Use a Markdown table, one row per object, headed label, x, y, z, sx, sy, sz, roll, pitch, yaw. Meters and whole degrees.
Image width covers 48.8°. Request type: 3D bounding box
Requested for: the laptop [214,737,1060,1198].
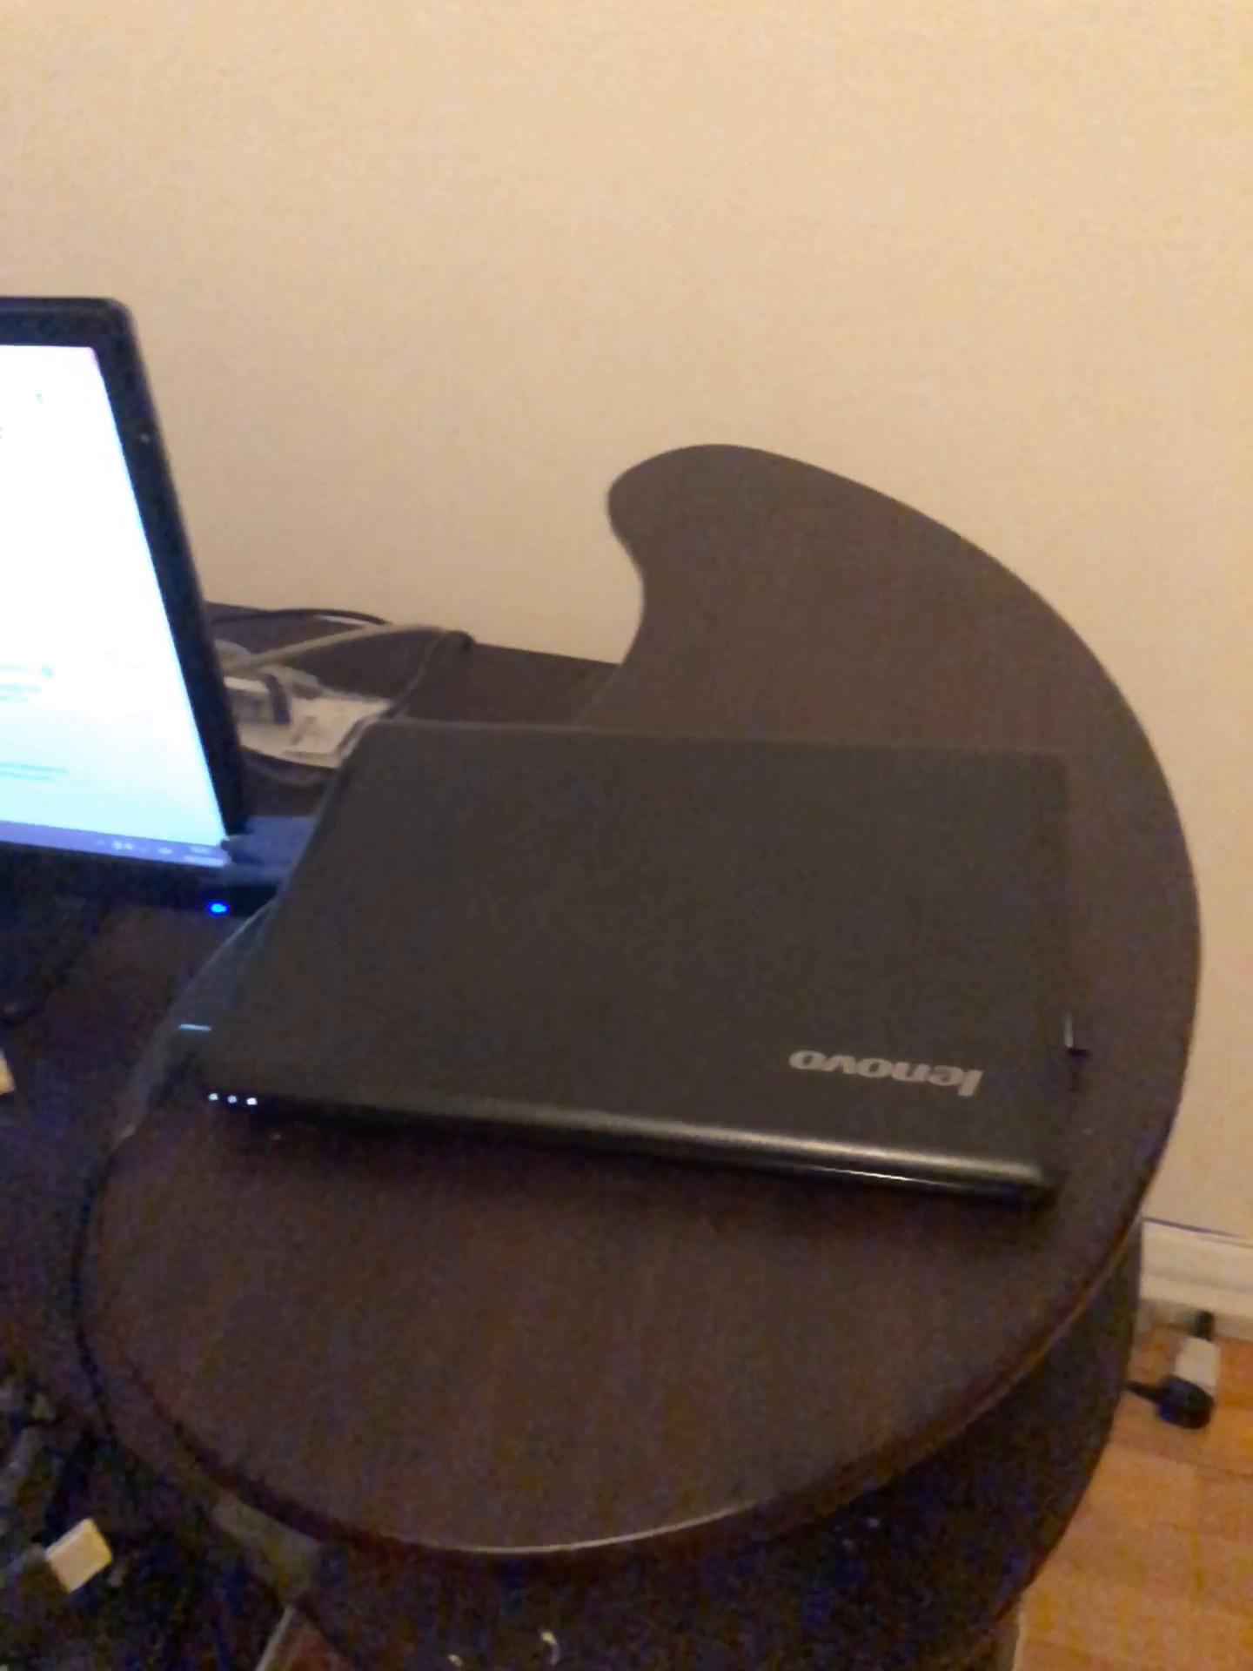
| label | x | y | z | sx | sy | sz | roll | pitch | yaw |
| --- | --- | --- | --- | --- | --- | --- | --- | --- | --- |
| laptop | 0.011 | 0.029 | 0.469 | 0.259 | 0.008 | 0.173 | 3 | 45 | 16 |
